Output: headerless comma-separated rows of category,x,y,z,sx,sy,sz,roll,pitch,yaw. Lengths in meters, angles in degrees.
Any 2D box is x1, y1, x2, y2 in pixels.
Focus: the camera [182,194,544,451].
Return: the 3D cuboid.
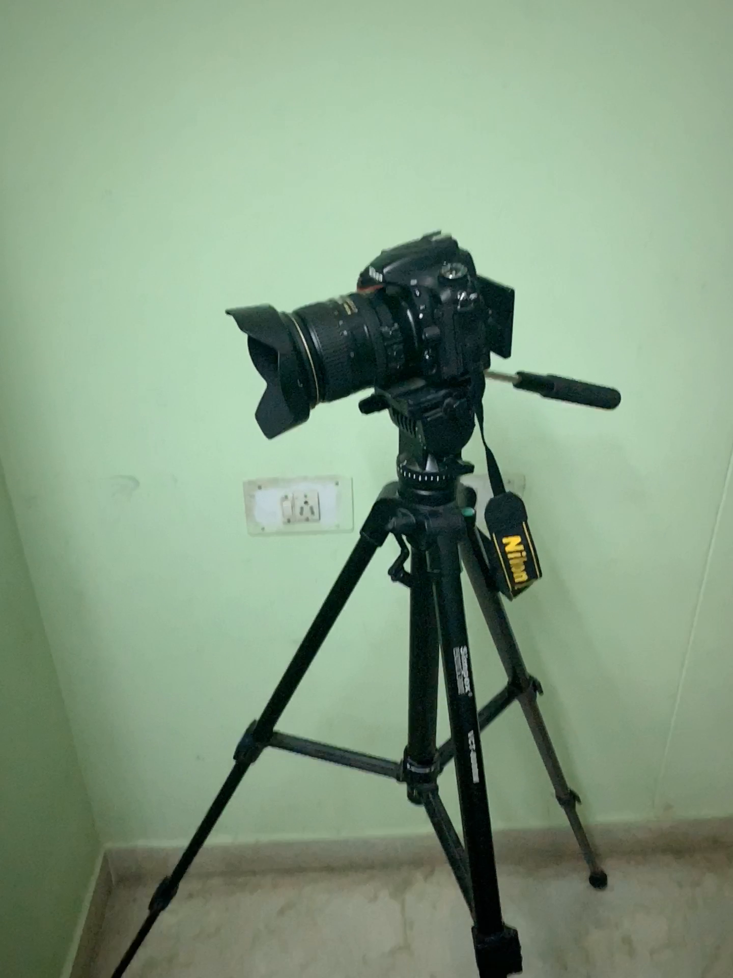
camera,0.001,-0.163,0.674,0.267,0.127,0.161,-22,33,-20
